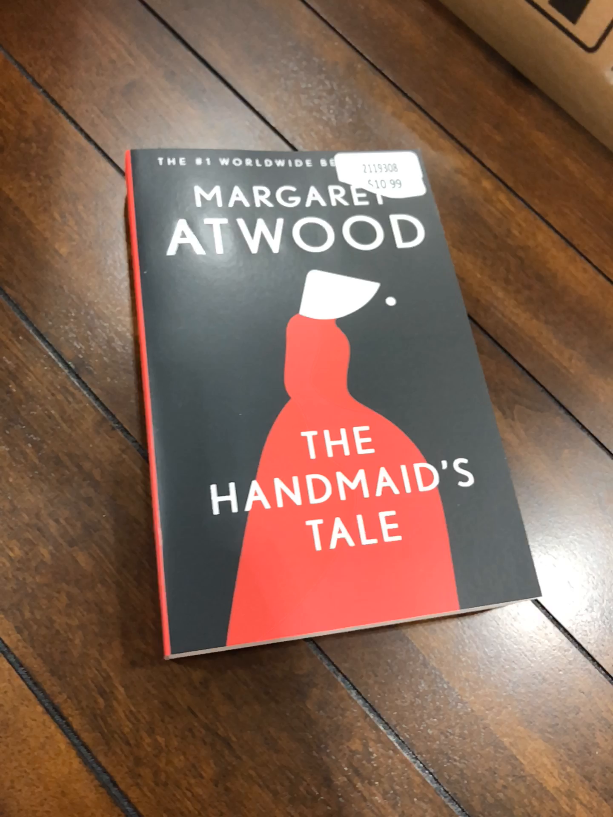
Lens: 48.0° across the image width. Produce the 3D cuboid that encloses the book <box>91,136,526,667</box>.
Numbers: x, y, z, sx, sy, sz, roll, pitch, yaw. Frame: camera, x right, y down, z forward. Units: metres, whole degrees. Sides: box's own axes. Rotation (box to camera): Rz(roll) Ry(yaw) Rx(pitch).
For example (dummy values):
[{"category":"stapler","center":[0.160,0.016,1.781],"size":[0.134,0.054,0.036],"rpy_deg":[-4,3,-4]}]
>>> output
[{"category":"book","center":[-0.009,-0.017,0.276],"size":[0.138,0.030,0.207],"rpy_deg":[-4,68,-14]}]
